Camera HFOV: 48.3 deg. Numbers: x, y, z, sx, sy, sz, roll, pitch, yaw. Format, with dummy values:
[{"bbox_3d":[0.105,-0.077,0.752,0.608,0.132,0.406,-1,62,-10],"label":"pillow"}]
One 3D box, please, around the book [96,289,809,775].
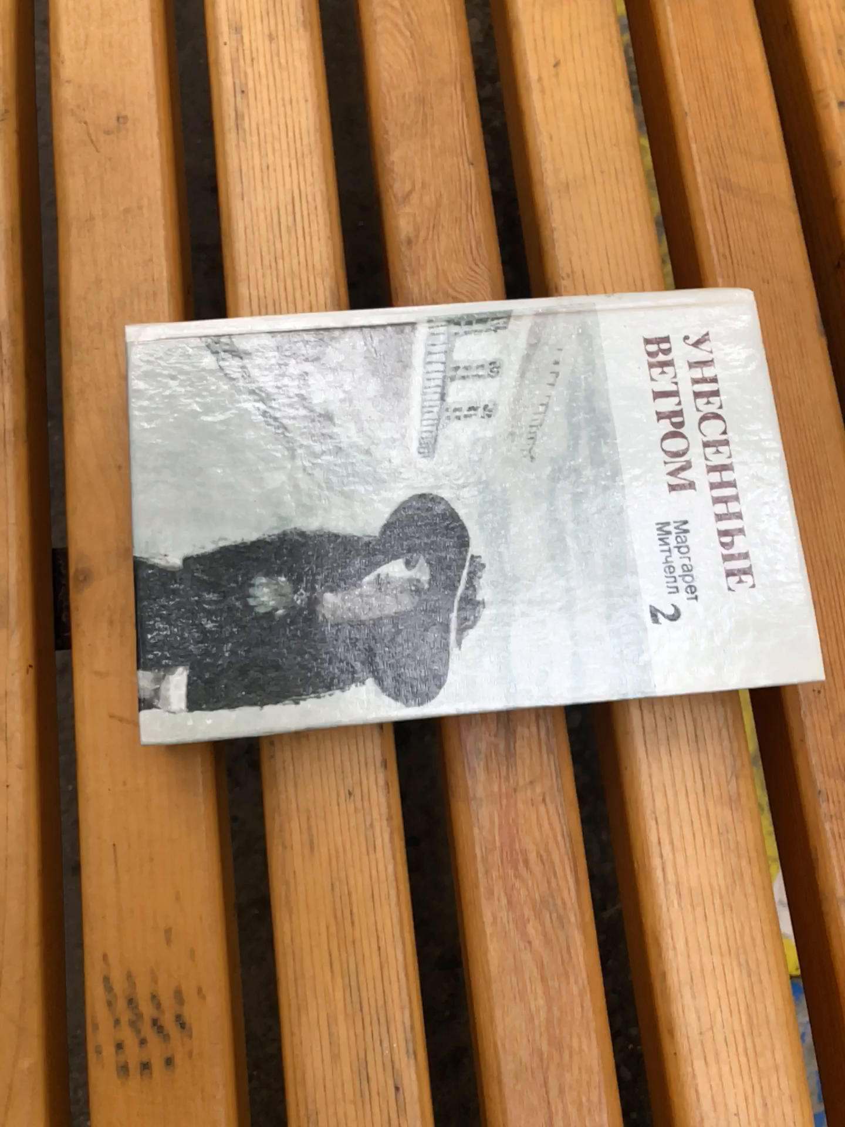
[{"bbox_3d":[0.006,-0.012,0.308,0.210,0.030,0.140,-4,78,-3],"label":"book"}]
